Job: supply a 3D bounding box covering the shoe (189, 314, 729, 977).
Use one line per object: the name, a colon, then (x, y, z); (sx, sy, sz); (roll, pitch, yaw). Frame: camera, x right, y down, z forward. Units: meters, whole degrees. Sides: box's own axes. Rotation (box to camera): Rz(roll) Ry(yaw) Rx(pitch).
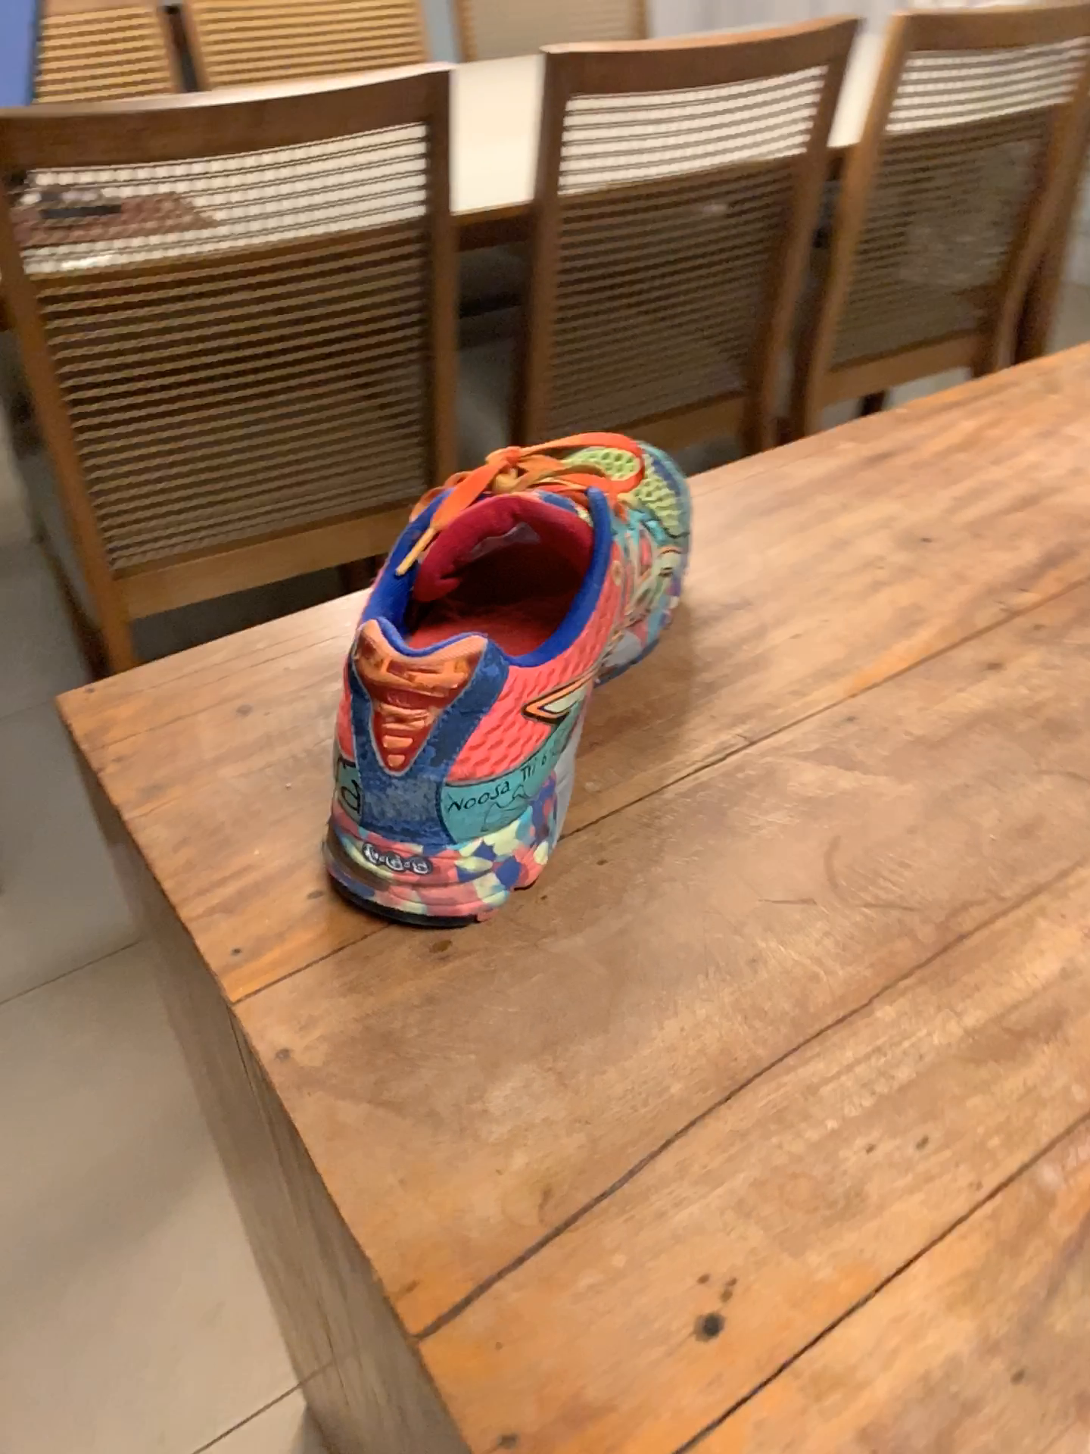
shoe: (-0.008, -0.063, 0.478); (0.110, 0.118, 0.312); (10, 39, 14)
